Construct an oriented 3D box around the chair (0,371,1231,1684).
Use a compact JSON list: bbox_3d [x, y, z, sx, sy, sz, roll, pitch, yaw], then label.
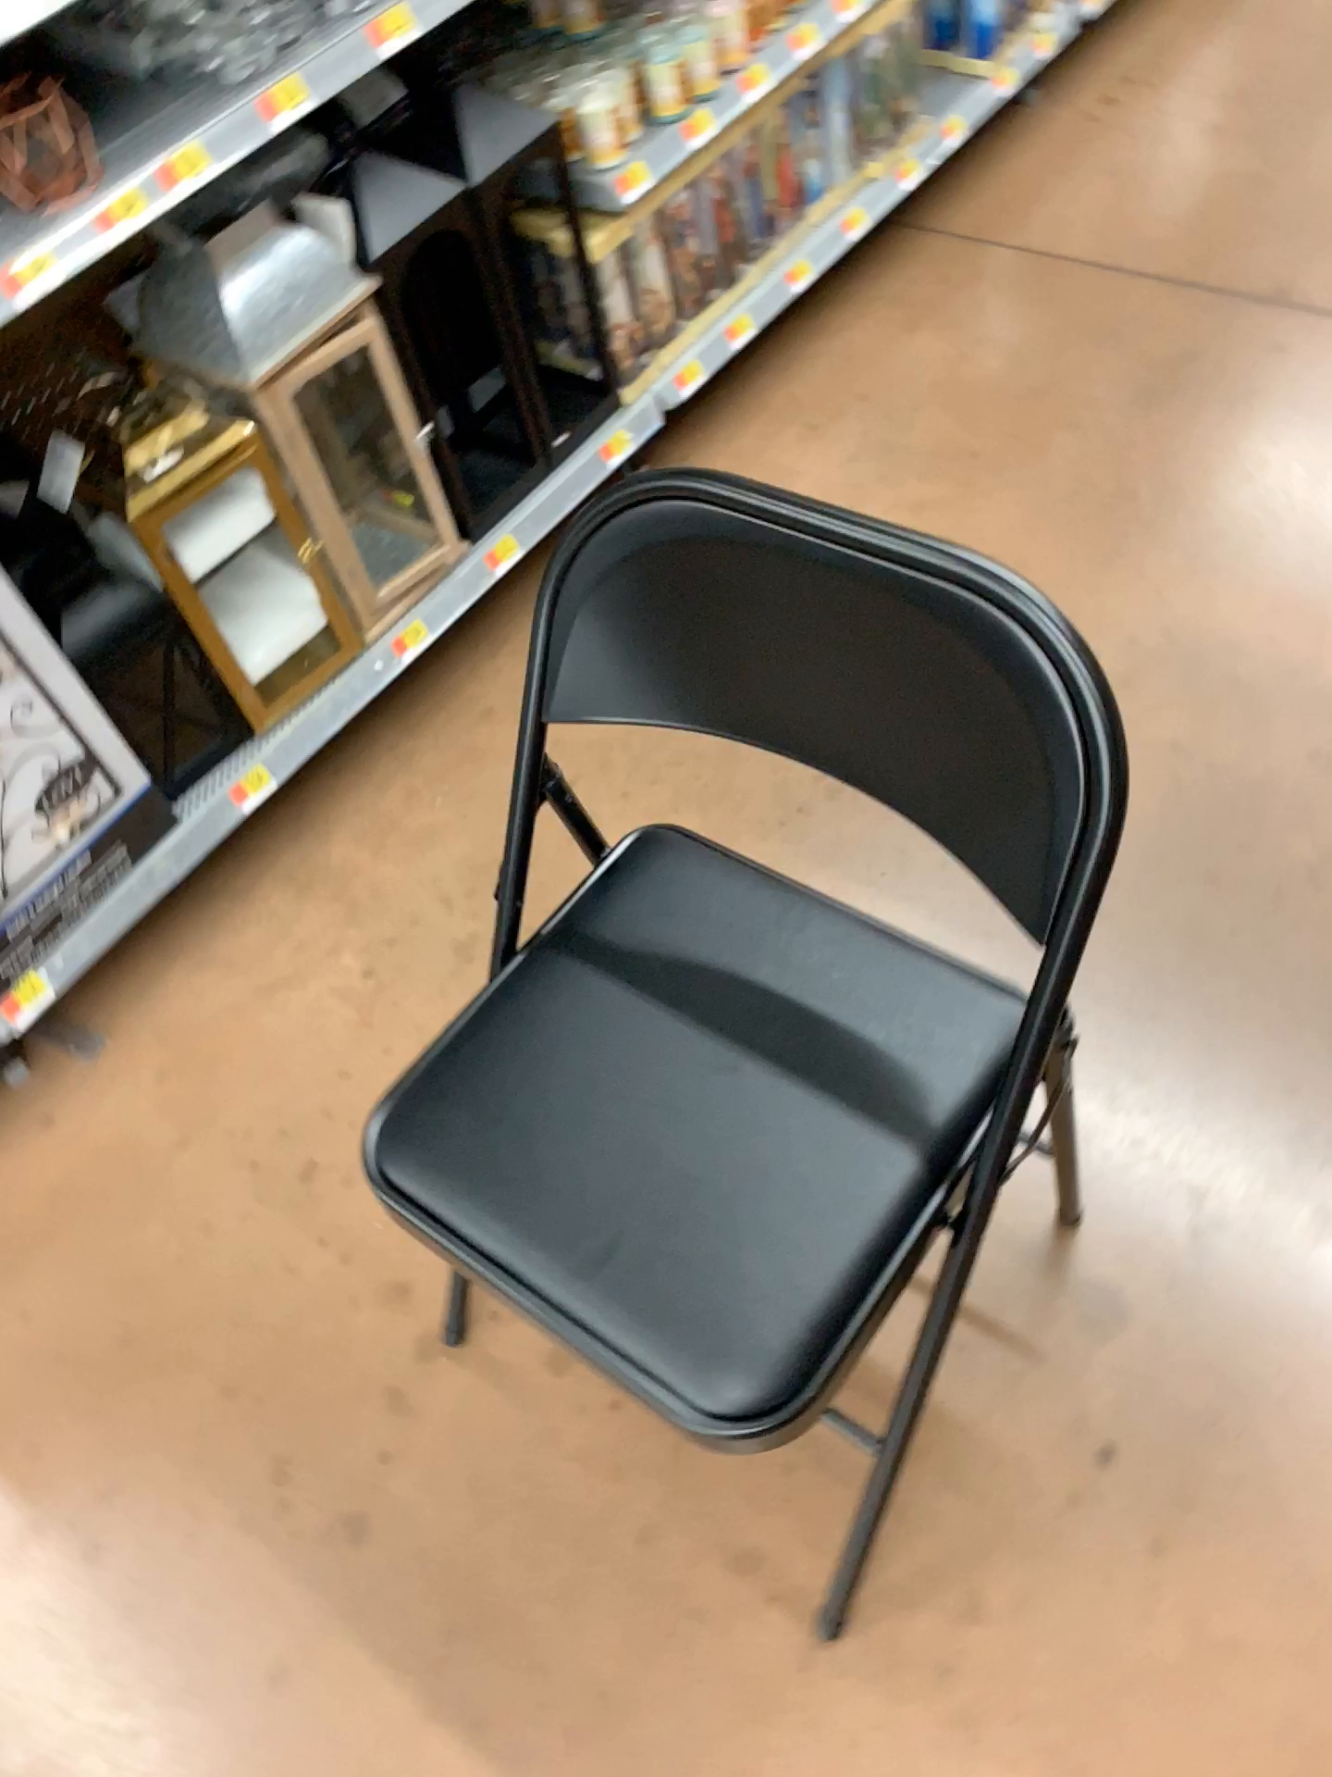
[{"bbox_3d":[0.008,0.131,0.952,0.471,0.697,0.471,27,63,28],"label":"chair"}]
